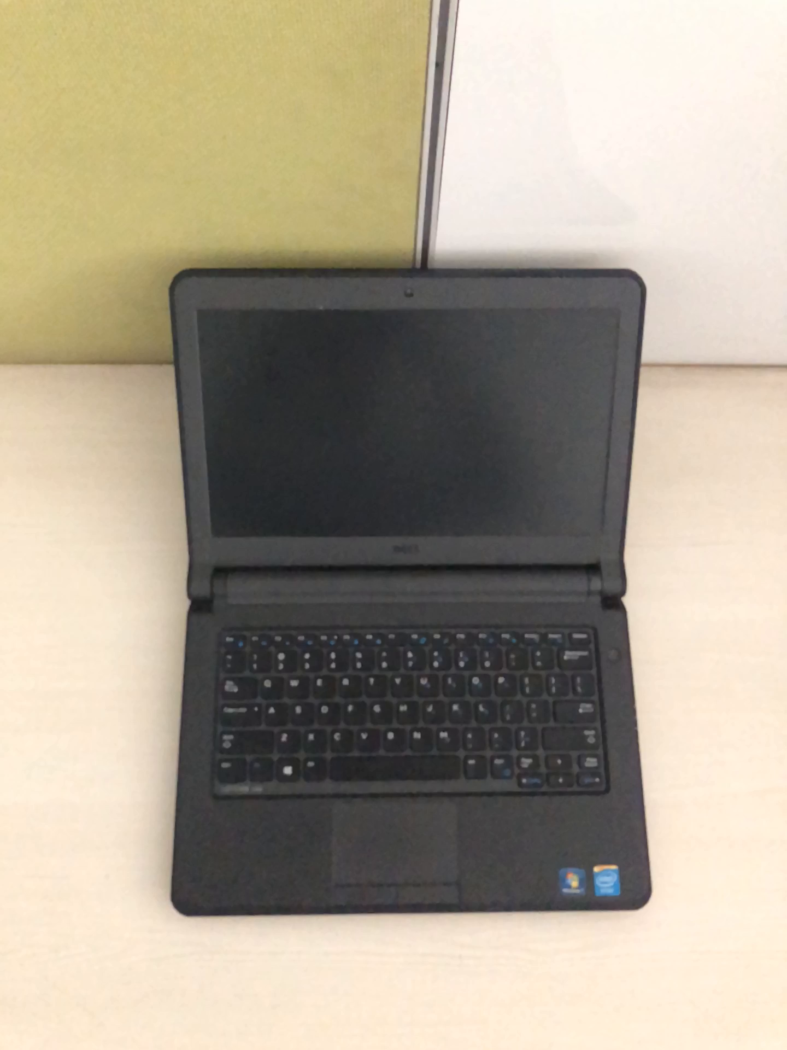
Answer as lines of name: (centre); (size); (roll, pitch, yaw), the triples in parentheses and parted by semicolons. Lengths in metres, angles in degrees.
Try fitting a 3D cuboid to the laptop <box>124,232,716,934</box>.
laptop: (0.012, 0.035, 0.573); (0.316, 0.123, 0.416); (0, 76, -2)
